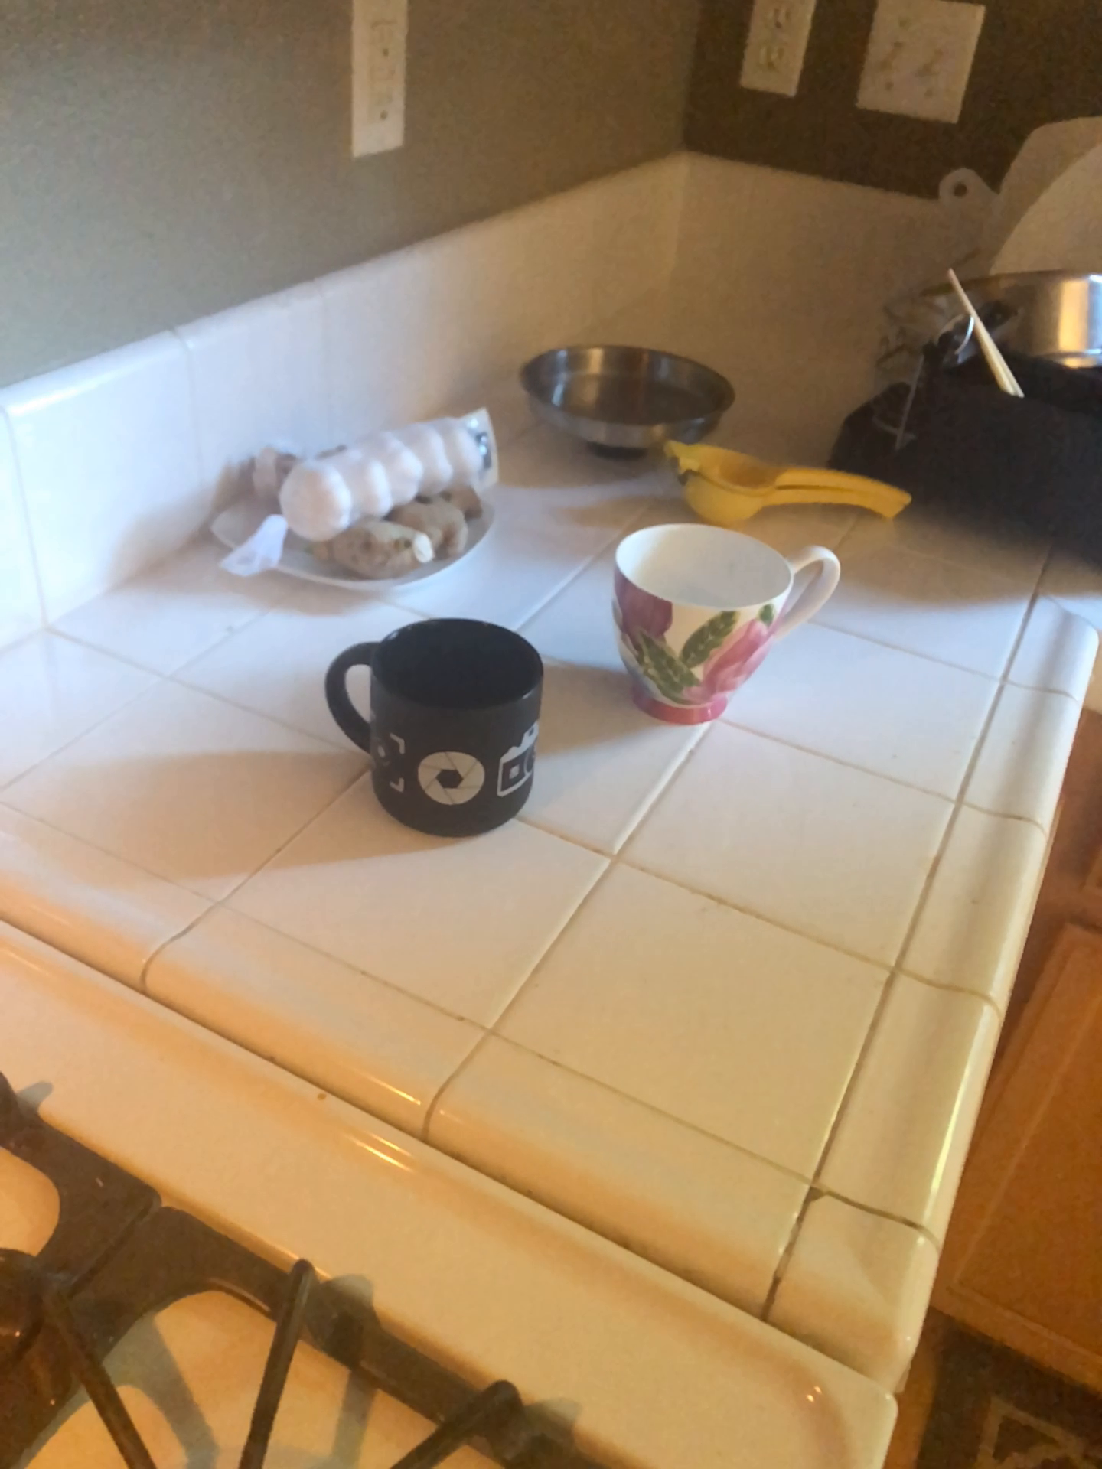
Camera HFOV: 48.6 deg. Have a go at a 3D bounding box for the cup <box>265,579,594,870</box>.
[{"bbox_3d":[-0.064,-0.009,0.657,0.140,0.079,0.101,18,37,14],"label":"cup"}]

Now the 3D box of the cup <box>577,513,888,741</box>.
[{"bbox_3d":[0.107,-0.070,0.755,0.150,0.089,0.101,-6,38,-17],"label":"cup"}]
